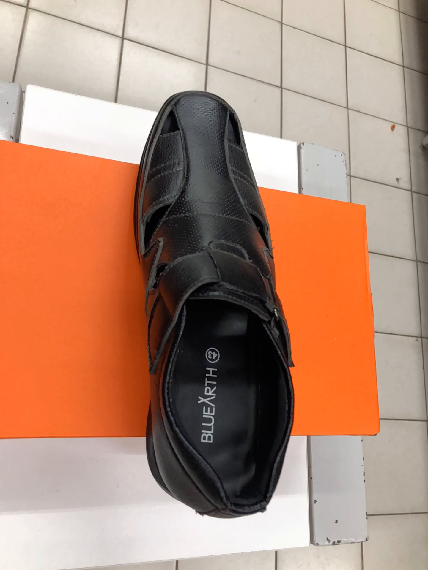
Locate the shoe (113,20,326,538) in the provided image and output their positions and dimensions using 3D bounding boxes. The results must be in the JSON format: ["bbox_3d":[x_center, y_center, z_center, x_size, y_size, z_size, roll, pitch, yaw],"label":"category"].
[{"bbox_3d":[-0.002,-0.008,0.327,0.100,0.100,0.300,6,74,-21],"label":"shoe"}]
